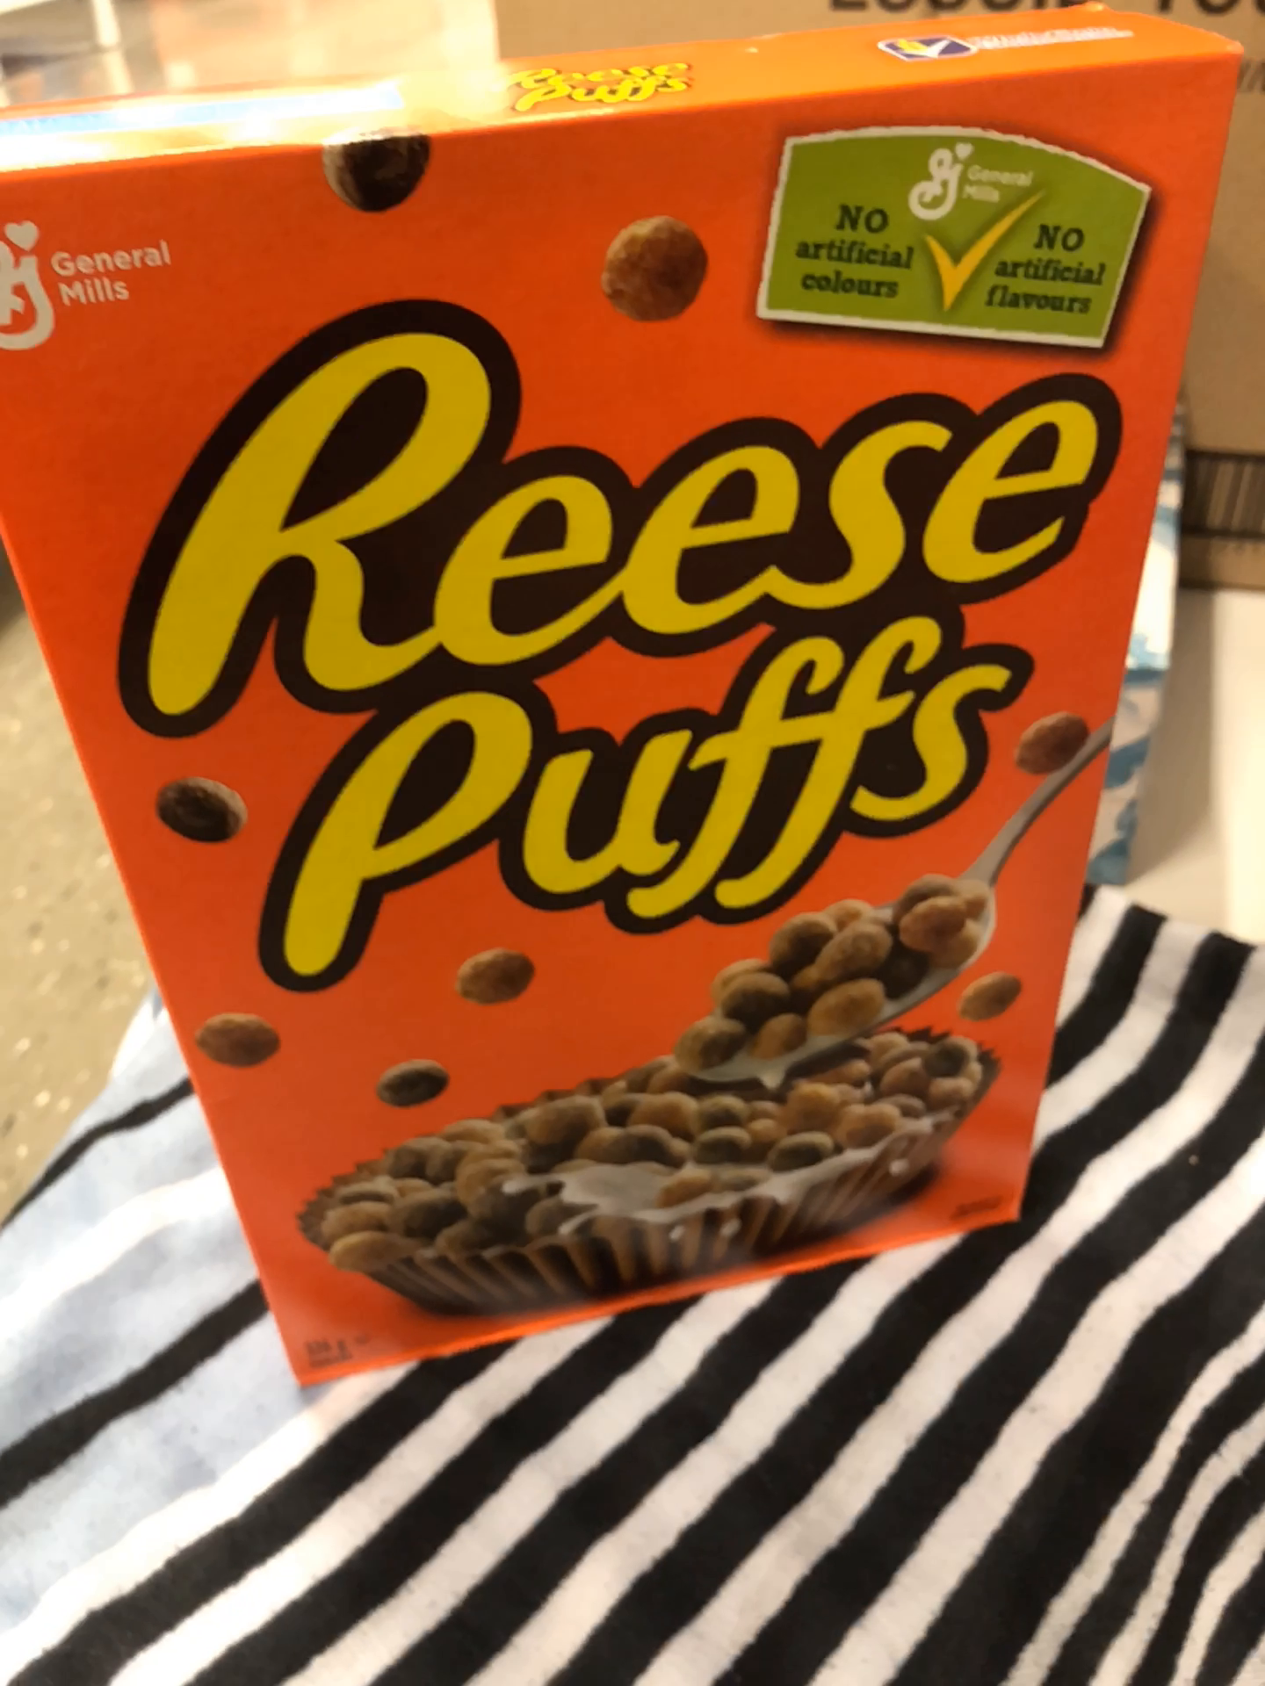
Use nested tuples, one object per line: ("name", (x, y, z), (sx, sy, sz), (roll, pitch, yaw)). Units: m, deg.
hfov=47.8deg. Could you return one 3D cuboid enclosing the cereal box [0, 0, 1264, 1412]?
("cereal box", (-0.006, -0.008, 0.277), (0.210, 0.269, 0.040), (-11, 38, -8))
